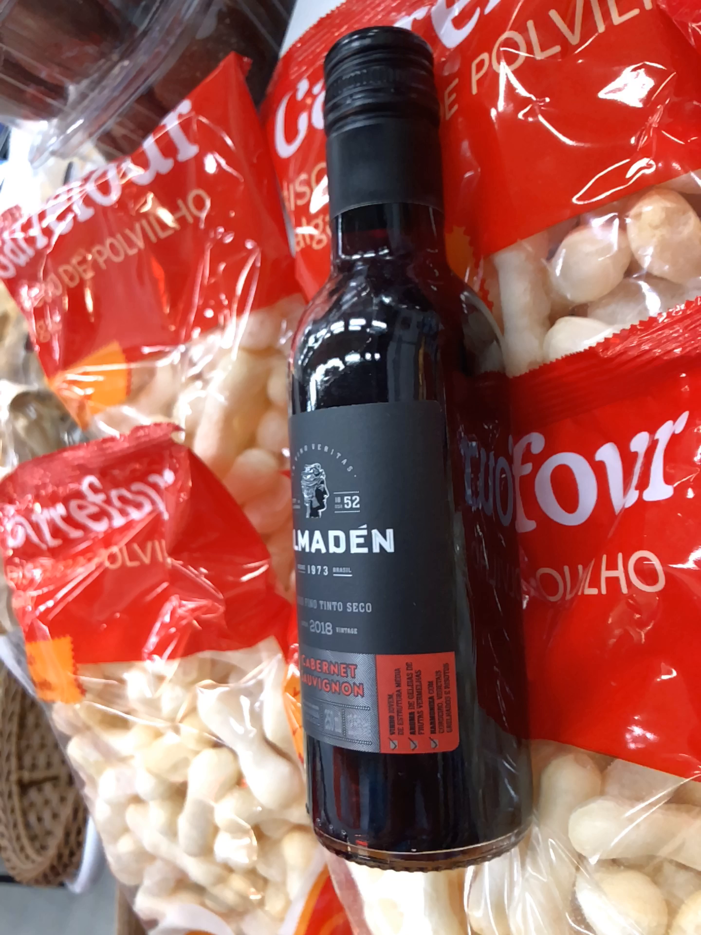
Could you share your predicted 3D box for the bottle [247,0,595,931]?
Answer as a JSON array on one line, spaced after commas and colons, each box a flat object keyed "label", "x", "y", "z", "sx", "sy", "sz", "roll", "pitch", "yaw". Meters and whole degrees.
[{"label": "bottle", "x": 0.015, "y": -0.015, "z": 0.187, "sx": 0.060, "sy": 0.050, "sz": 0.200, "roll": -6, "pitch": 83, "yaw": 47}]
